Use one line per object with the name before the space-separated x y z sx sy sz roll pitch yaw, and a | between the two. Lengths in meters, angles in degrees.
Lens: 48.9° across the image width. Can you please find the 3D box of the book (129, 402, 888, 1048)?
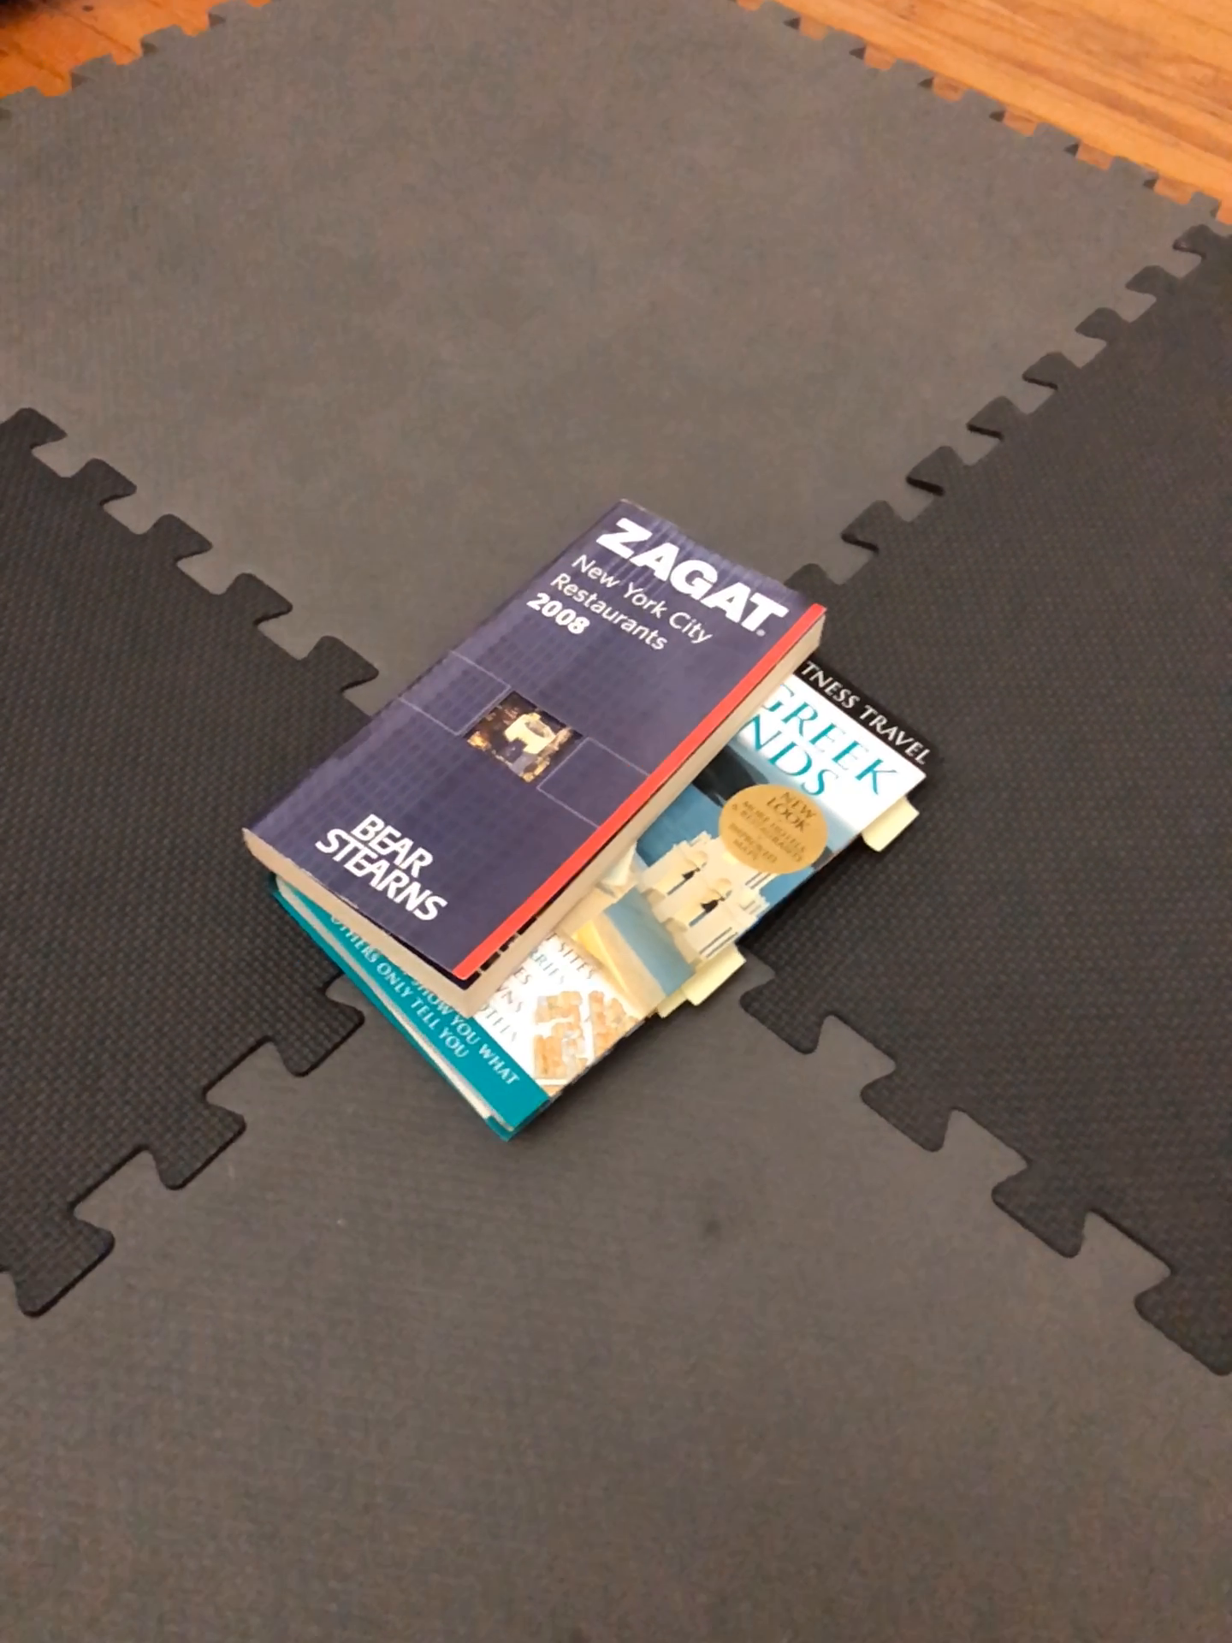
book | -0.030 -0.054 0.501 0.150 0.020 0.251 33 60 19

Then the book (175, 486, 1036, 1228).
book | 0.003 -0.008 0.492 0.261 0.030 0.170 -38 64 -25
